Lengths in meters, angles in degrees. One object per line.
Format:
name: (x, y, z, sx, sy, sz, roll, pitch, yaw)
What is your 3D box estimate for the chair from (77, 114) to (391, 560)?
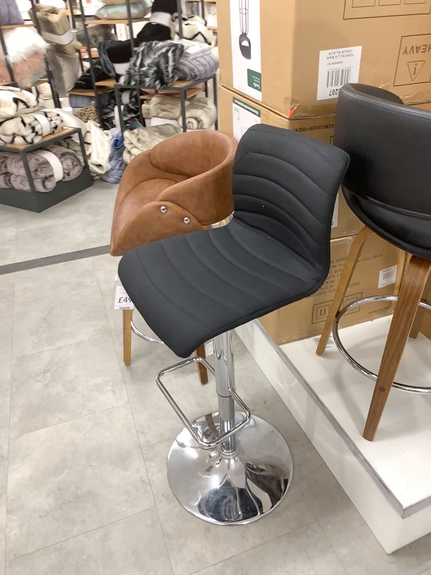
chair: (0.033, 0.137, 1.171, 0.469, 0.994, 0.457, -20, 37, -25)

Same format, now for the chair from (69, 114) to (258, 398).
chair: (-0.158, -0.121, 1.662, 0.518, 0.875, 0.529, -6, 34, -5)
